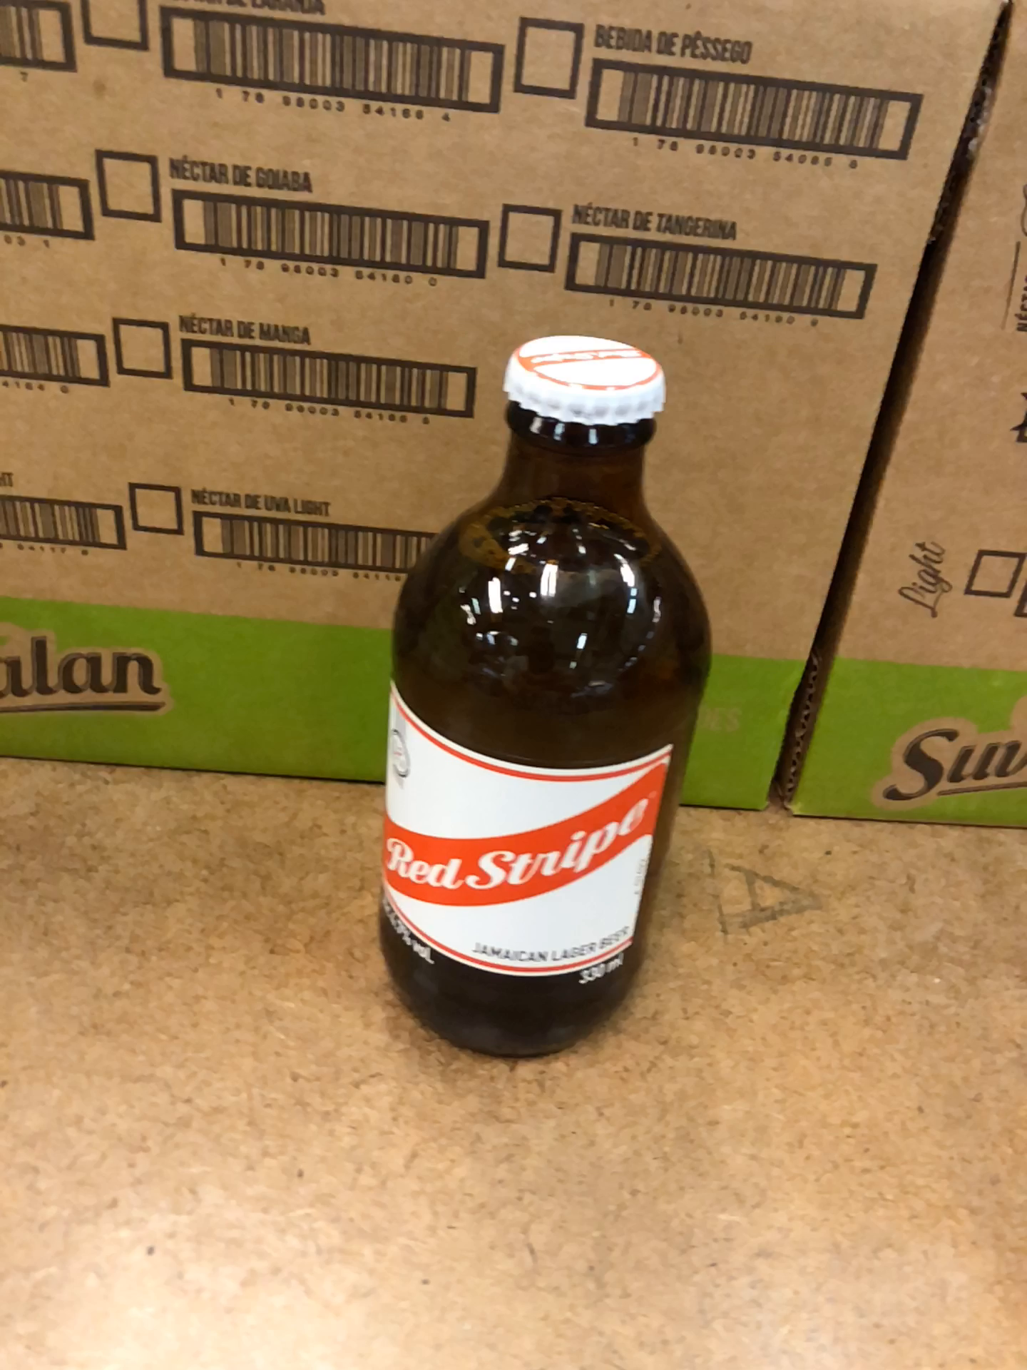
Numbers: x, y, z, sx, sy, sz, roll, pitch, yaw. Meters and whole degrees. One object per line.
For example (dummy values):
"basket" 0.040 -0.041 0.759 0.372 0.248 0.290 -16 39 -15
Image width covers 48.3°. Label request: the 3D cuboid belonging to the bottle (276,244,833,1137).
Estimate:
"bottle" 0.005 0.005 0.239 0.080 0.159 0.071 13 35 11
